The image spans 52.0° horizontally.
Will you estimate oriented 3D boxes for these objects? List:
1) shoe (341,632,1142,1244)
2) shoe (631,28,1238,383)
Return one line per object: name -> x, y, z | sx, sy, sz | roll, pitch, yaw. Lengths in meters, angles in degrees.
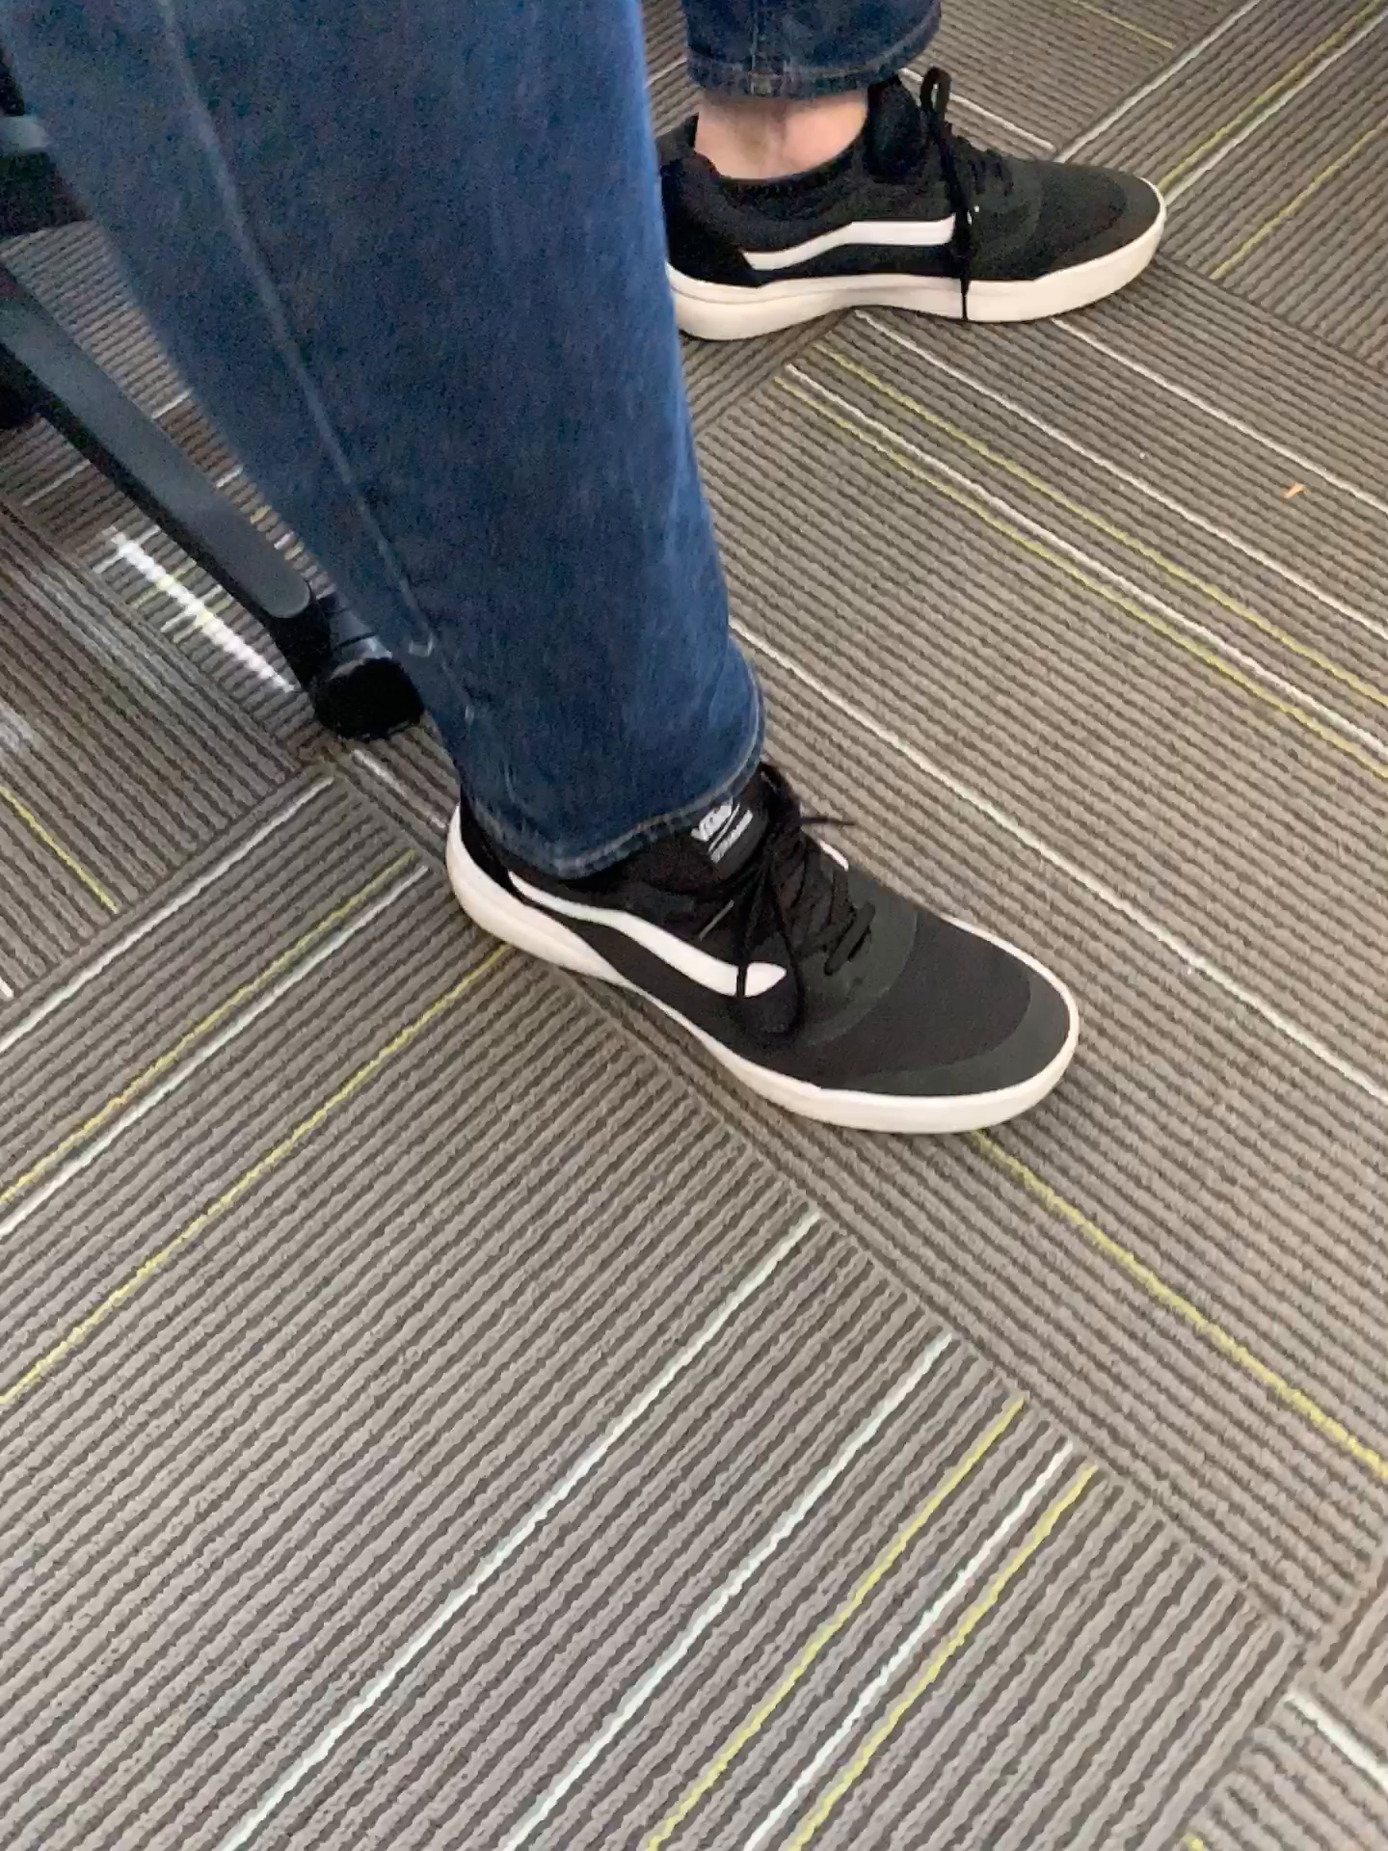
shoe -> 0.018, 0.004, 0.656 | 0.320, 0.120, 0.120 | 25, 67, 15
shoe -> 0.131, -0.424, 0.843 | 0.320, 0.110, 0.120 | -6, 63, 0
